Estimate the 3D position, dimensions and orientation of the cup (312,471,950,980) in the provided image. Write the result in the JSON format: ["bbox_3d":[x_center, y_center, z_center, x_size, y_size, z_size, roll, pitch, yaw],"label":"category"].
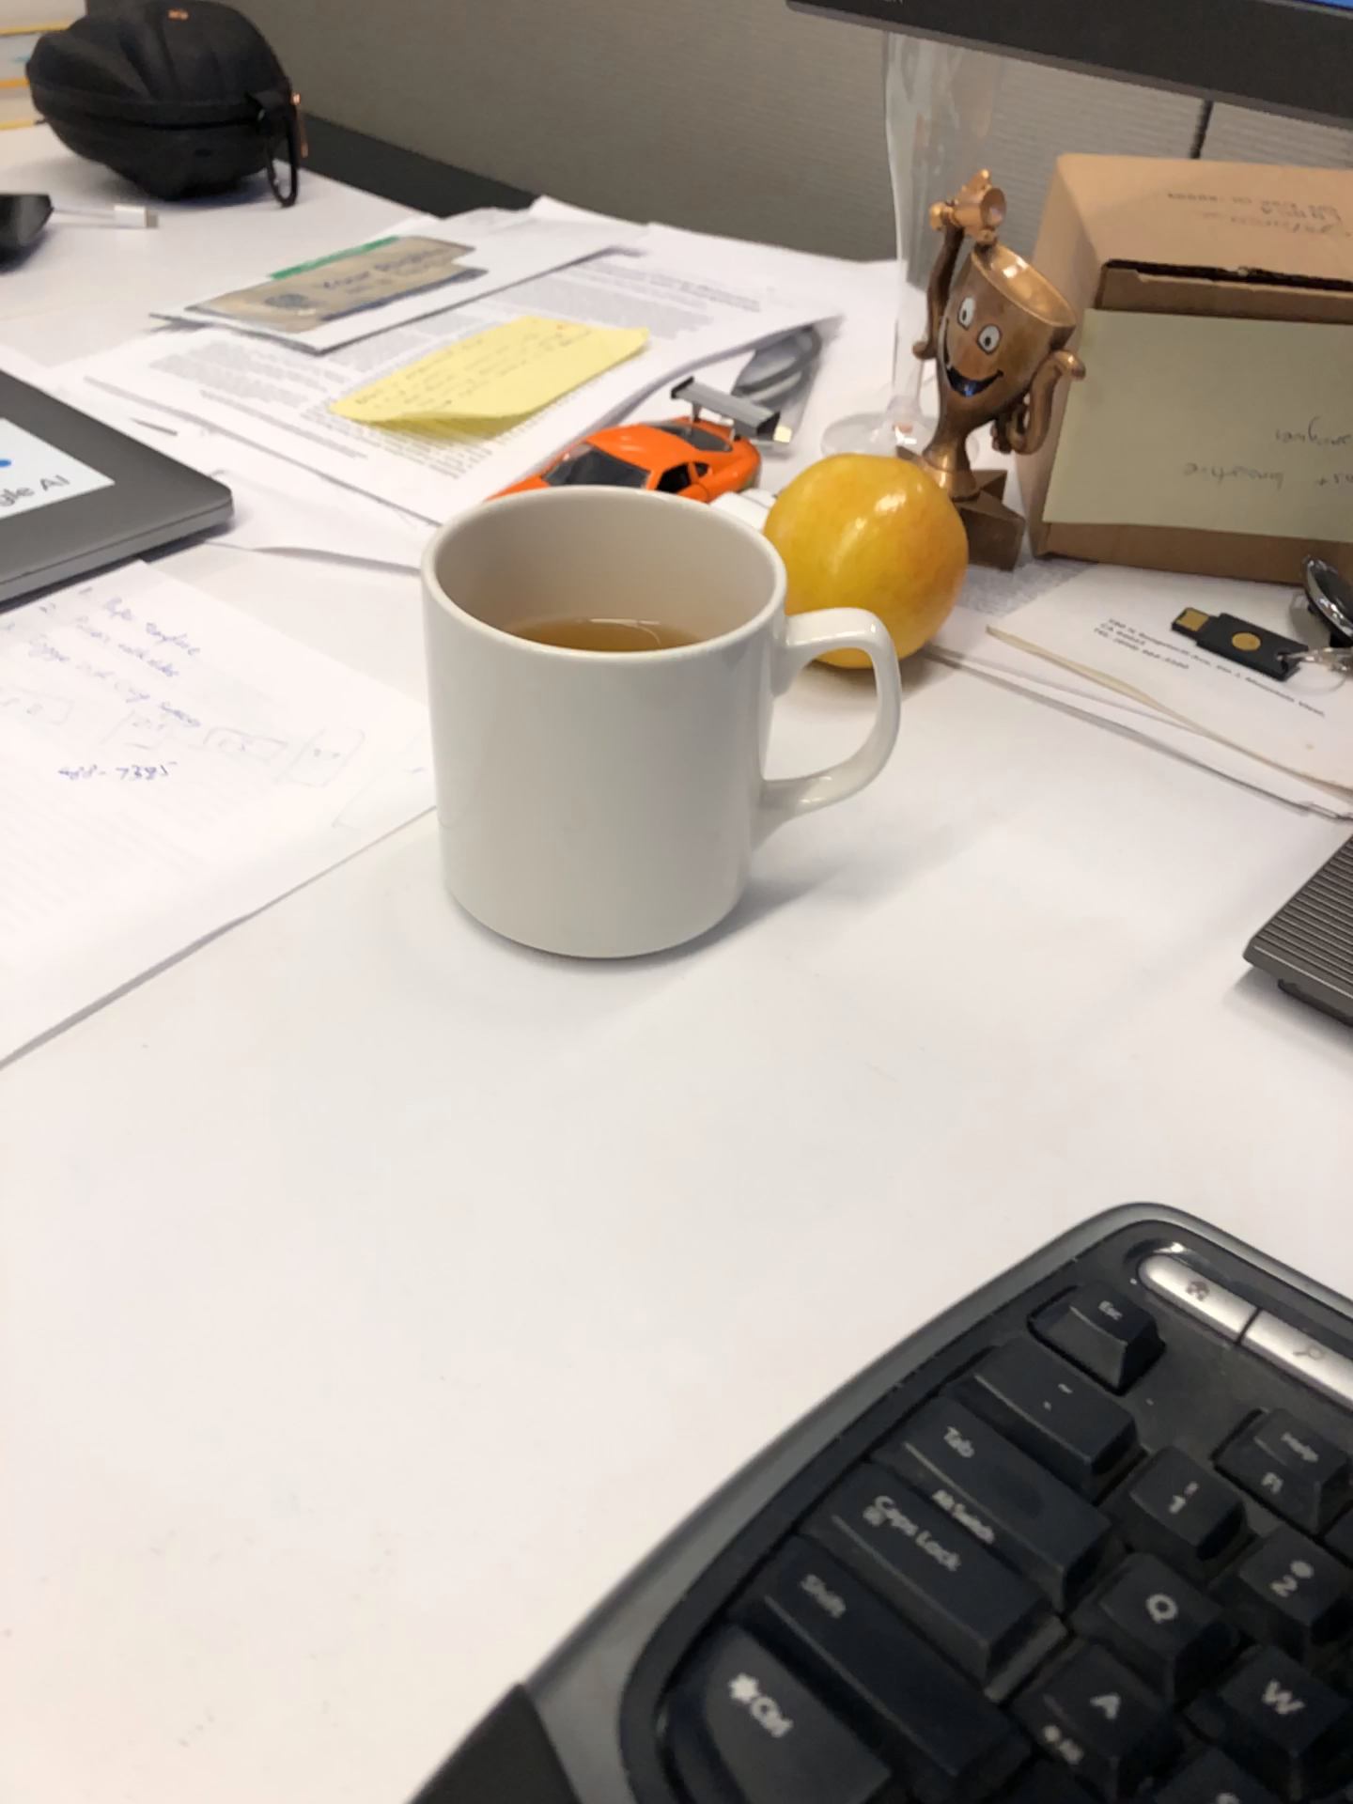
[{"bbox_3d":[-0.011,-0.040,0.337,0.120,0.080,0.080,2,39,-3],"label":"cup"}]
